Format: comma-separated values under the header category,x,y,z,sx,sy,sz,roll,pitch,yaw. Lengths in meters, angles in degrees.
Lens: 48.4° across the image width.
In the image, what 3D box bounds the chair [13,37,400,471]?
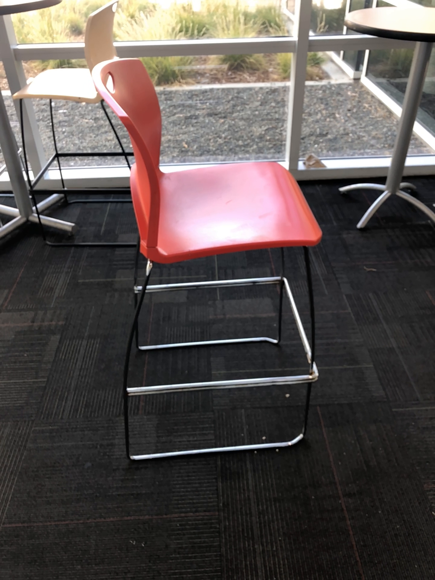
category,x,y,z,sx,sy,sz,roll,pitch,yaw
chair,-0.030,-0.086,1.353,0.660,0.995,0.593,-5,36,-4
